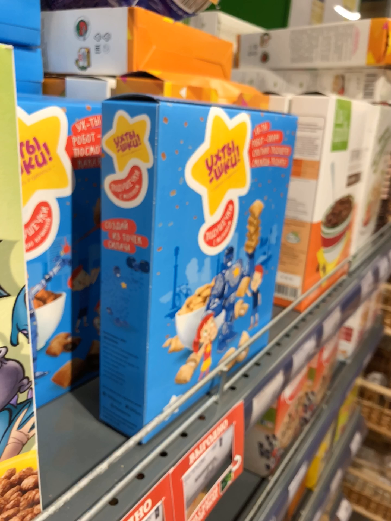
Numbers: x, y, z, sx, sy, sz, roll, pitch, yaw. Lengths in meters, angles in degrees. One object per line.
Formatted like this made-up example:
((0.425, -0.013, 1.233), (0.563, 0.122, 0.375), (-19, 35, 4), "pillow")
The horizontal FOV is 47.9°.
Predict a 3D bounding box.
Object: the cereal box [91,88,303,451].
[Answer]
((0.008, -0.007, 0.366), (0.050, 0.239, 0.201), (16, 22, 33), "cereal box")
